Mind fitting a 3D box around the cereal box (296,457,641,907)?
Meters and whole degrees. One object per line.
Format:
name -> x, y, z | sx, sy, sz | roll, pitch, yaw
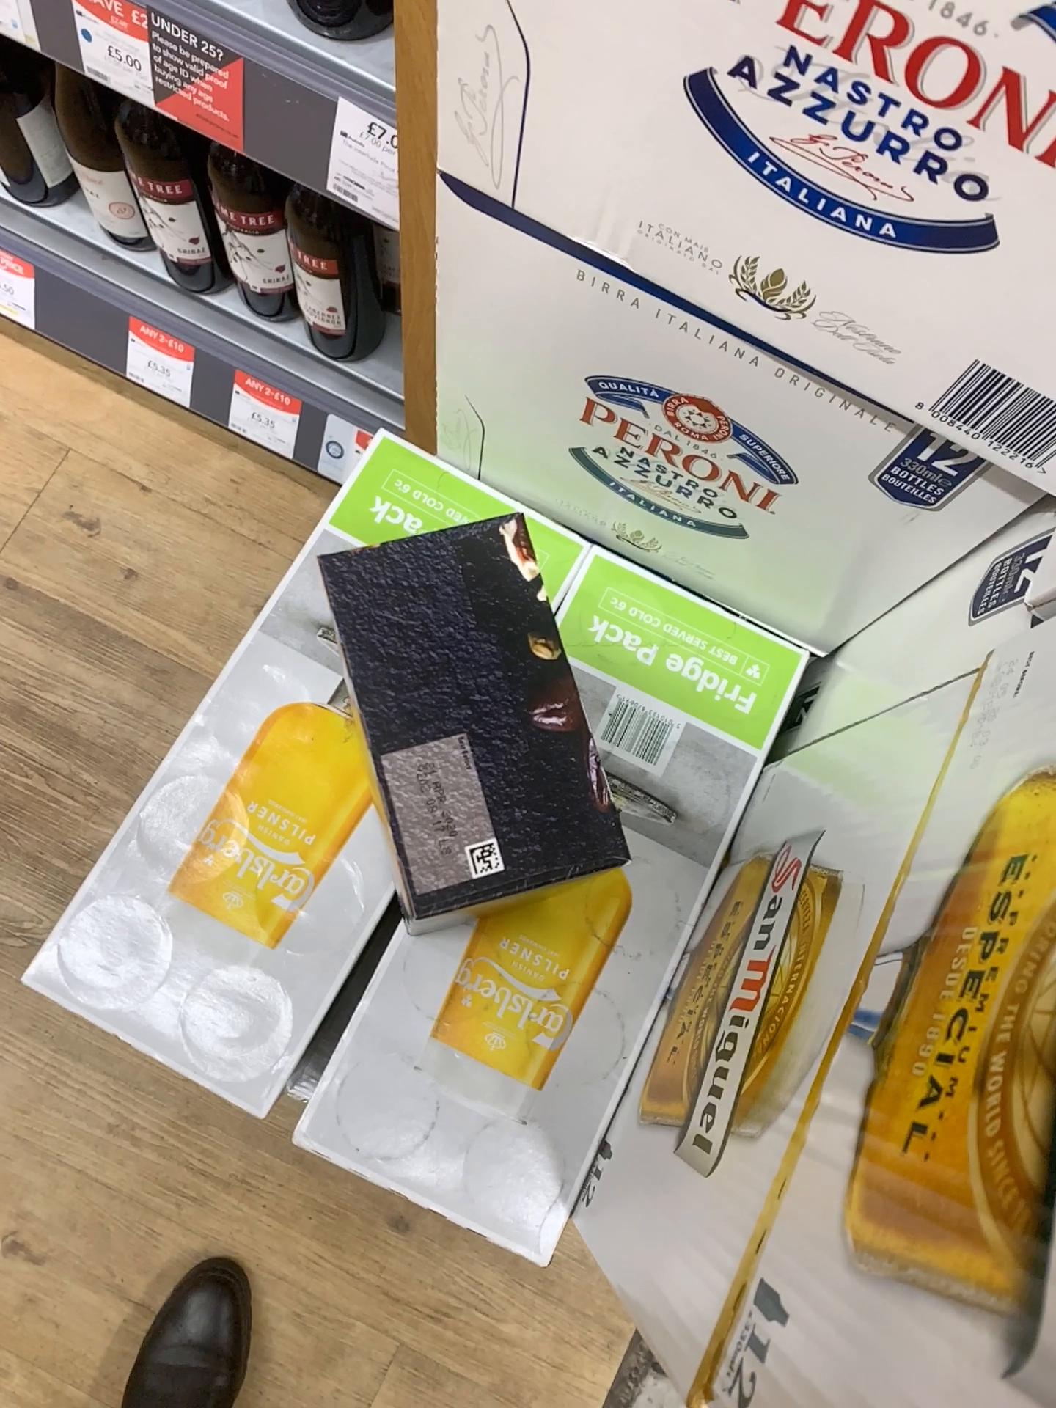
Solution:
cereal box -> -0.031, 0.008, 0.441 | 0.080, 0.209, 0.120 | -14, 79, -9
